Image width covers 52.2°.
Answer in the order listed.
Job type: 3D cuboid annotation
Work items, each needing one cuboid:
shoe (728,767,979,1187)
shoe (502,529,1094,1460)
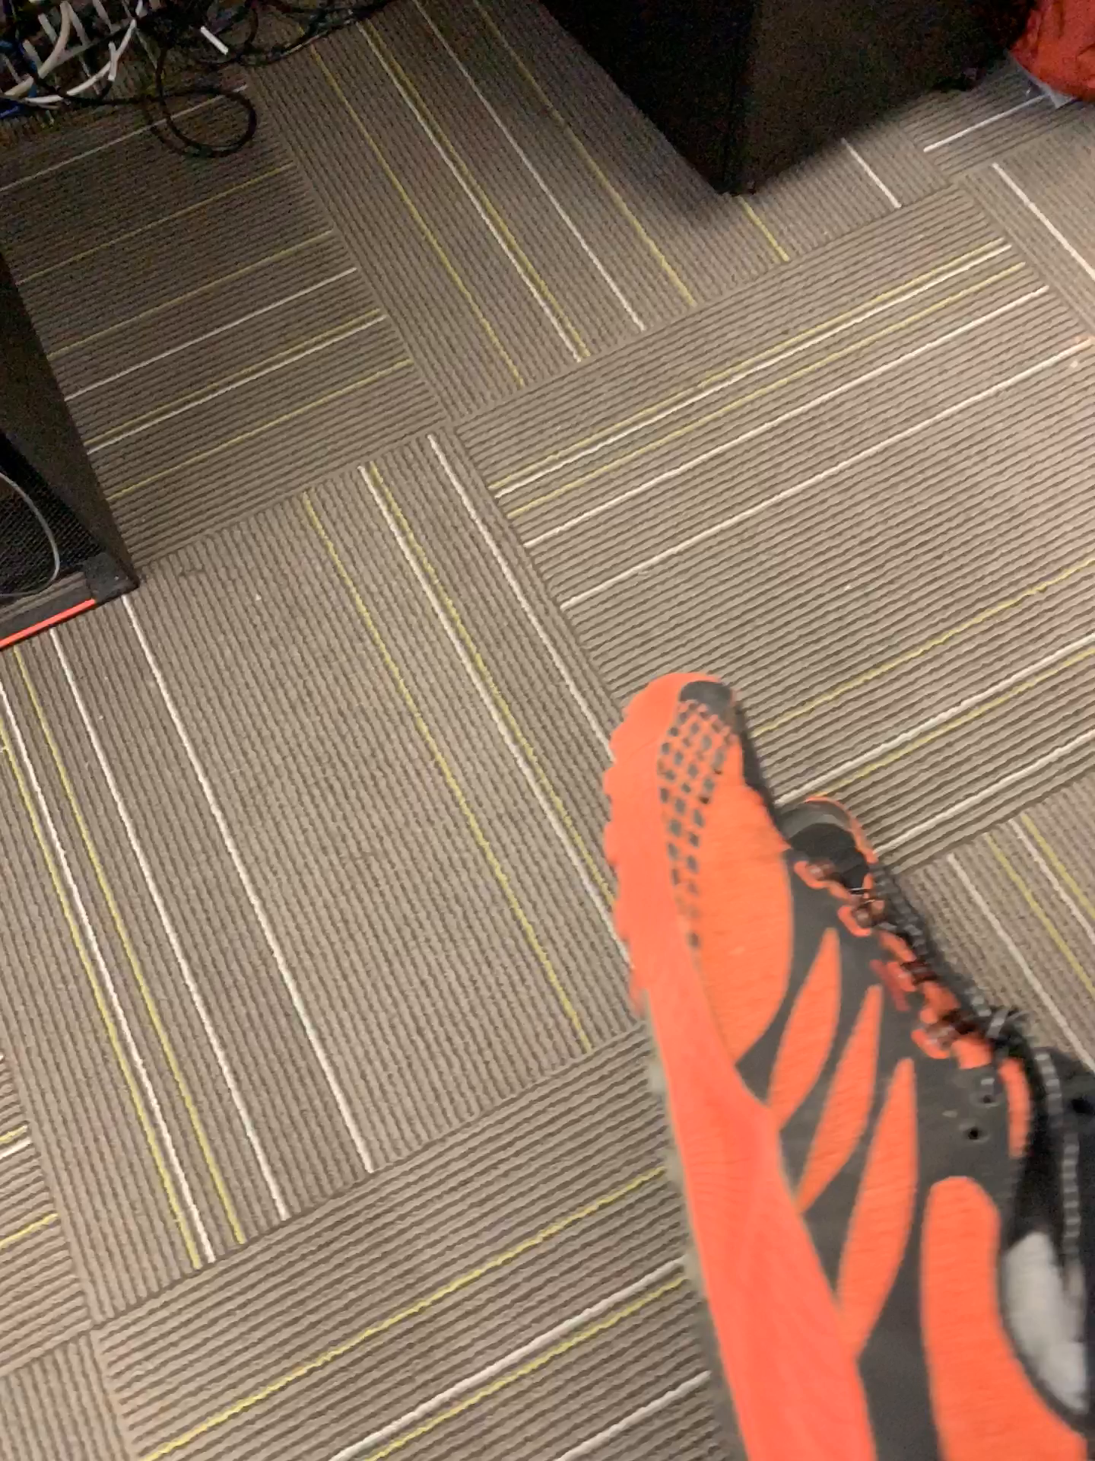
[{"bbox_3d":[0.244,0.198,0.927,0.117,0.067,0.319,-7,69,-3],"label":"shoe"},{"bbox_3d":[0.101,0.116,0.370,0.146,0.111,0.322,-17,67,4],"label":"shoe"}]
